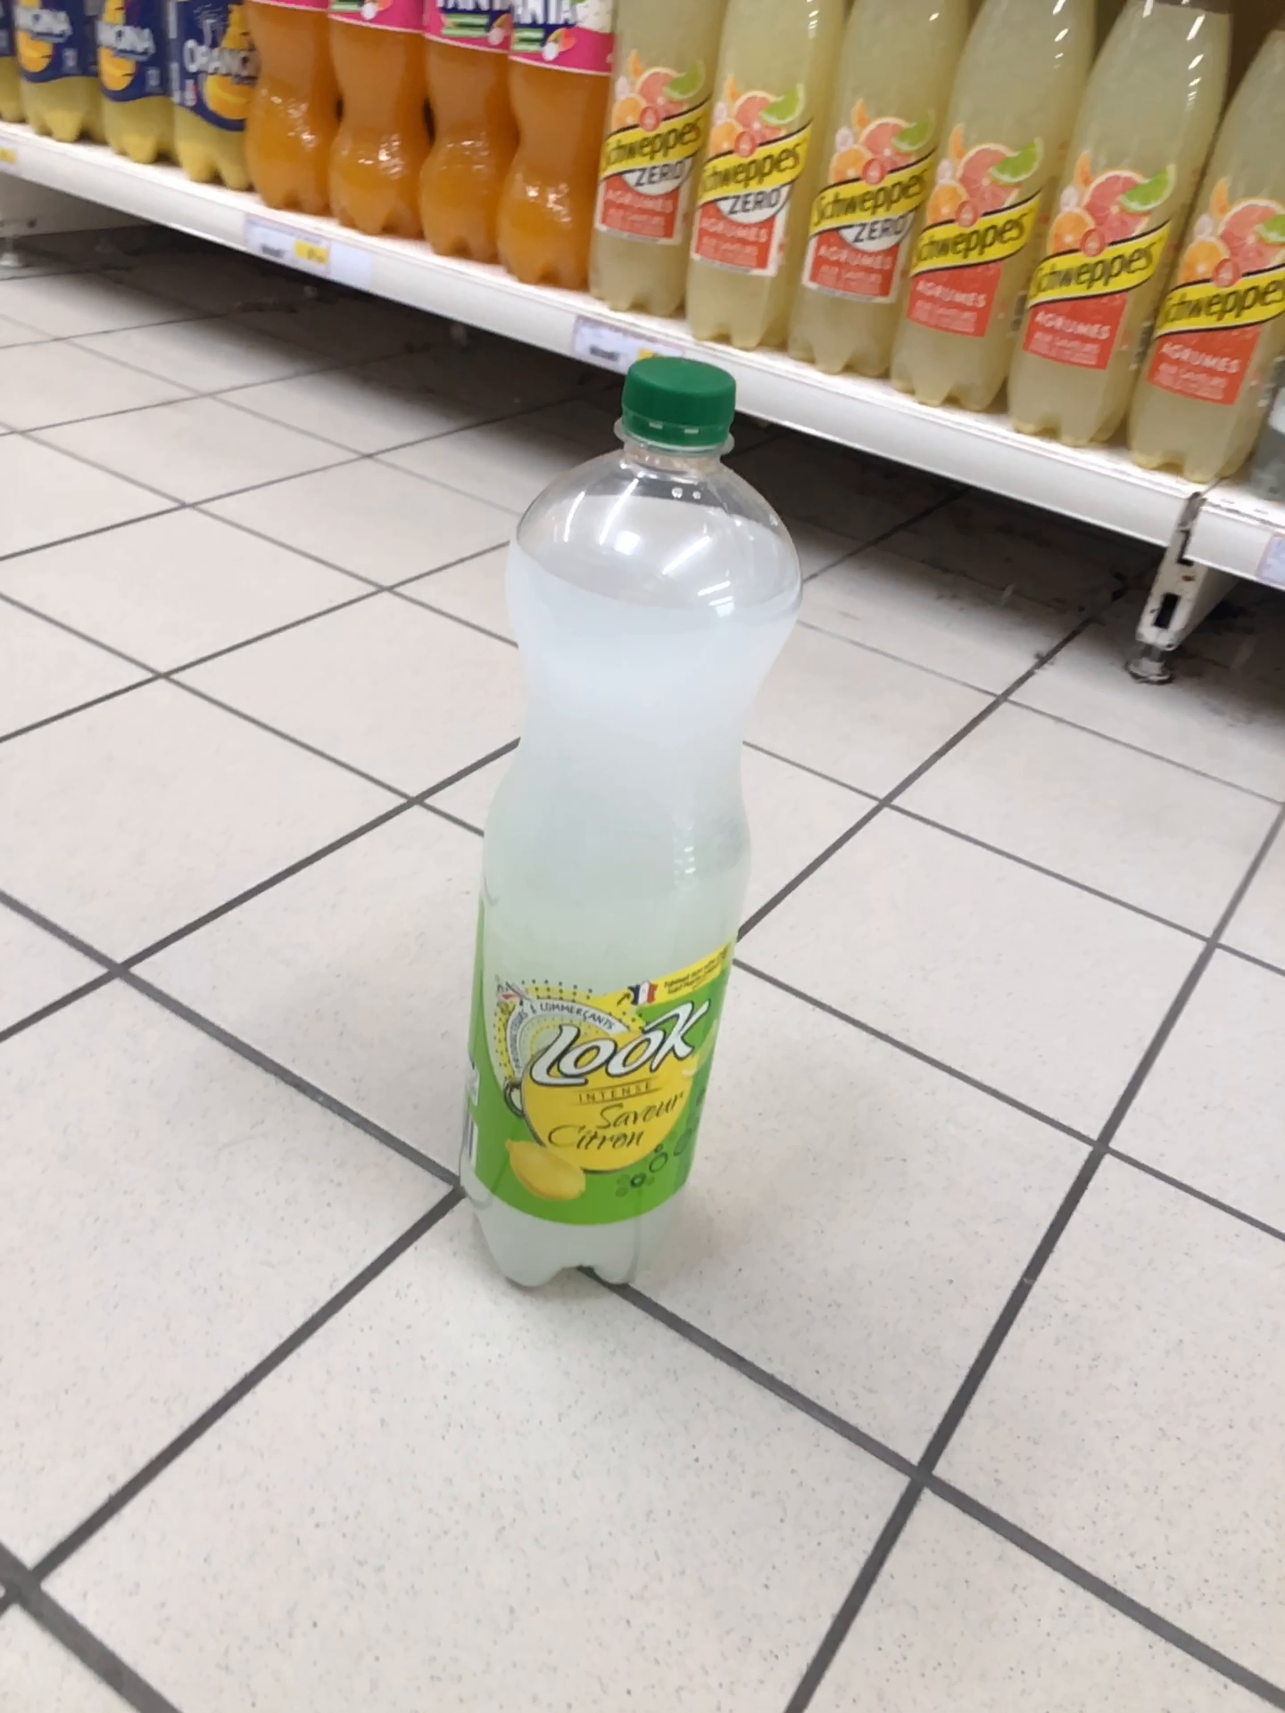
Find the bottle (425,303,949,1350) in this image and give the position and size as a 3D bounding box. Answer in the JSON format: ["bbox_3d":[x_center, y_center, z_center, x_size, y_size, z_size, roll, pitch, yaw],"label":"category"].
[{"bbox_3d":[-0.003,0.007,0.438,0.100,0.308,0.101,7,32,-4],"label":"bottle"}]
